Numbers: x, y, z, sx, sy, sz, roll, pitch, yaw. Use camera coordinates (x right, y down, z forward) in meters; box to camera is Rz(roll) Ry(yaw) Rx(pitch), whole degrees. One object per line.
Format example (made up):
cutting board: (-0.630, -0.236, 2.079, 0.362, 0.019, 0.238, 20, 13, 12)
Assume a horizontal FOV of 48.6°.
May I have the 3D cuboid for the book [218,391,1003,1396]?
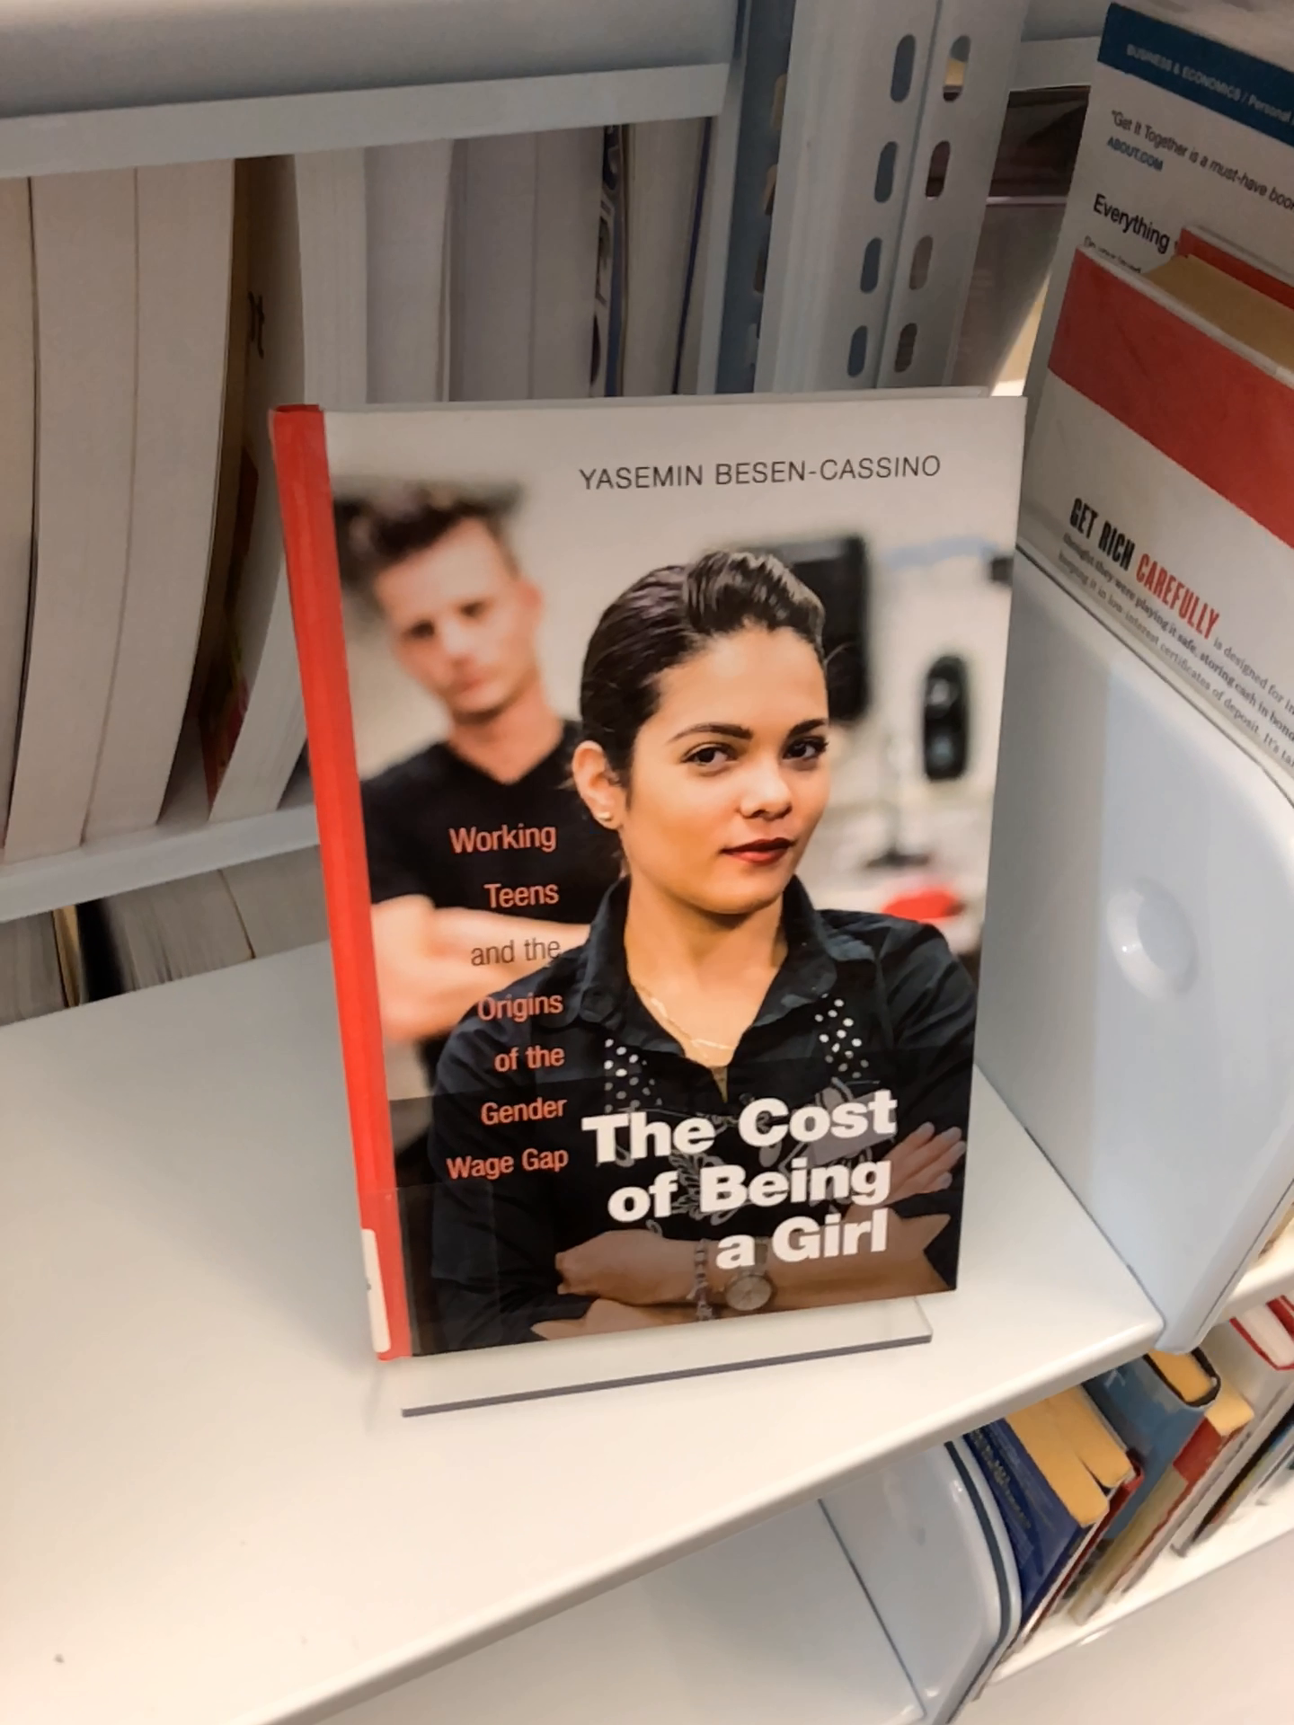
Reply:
book: (-0.004, 0.013, 0.338, 0.156, 0.230, 0.030, -5, 22, -9)
